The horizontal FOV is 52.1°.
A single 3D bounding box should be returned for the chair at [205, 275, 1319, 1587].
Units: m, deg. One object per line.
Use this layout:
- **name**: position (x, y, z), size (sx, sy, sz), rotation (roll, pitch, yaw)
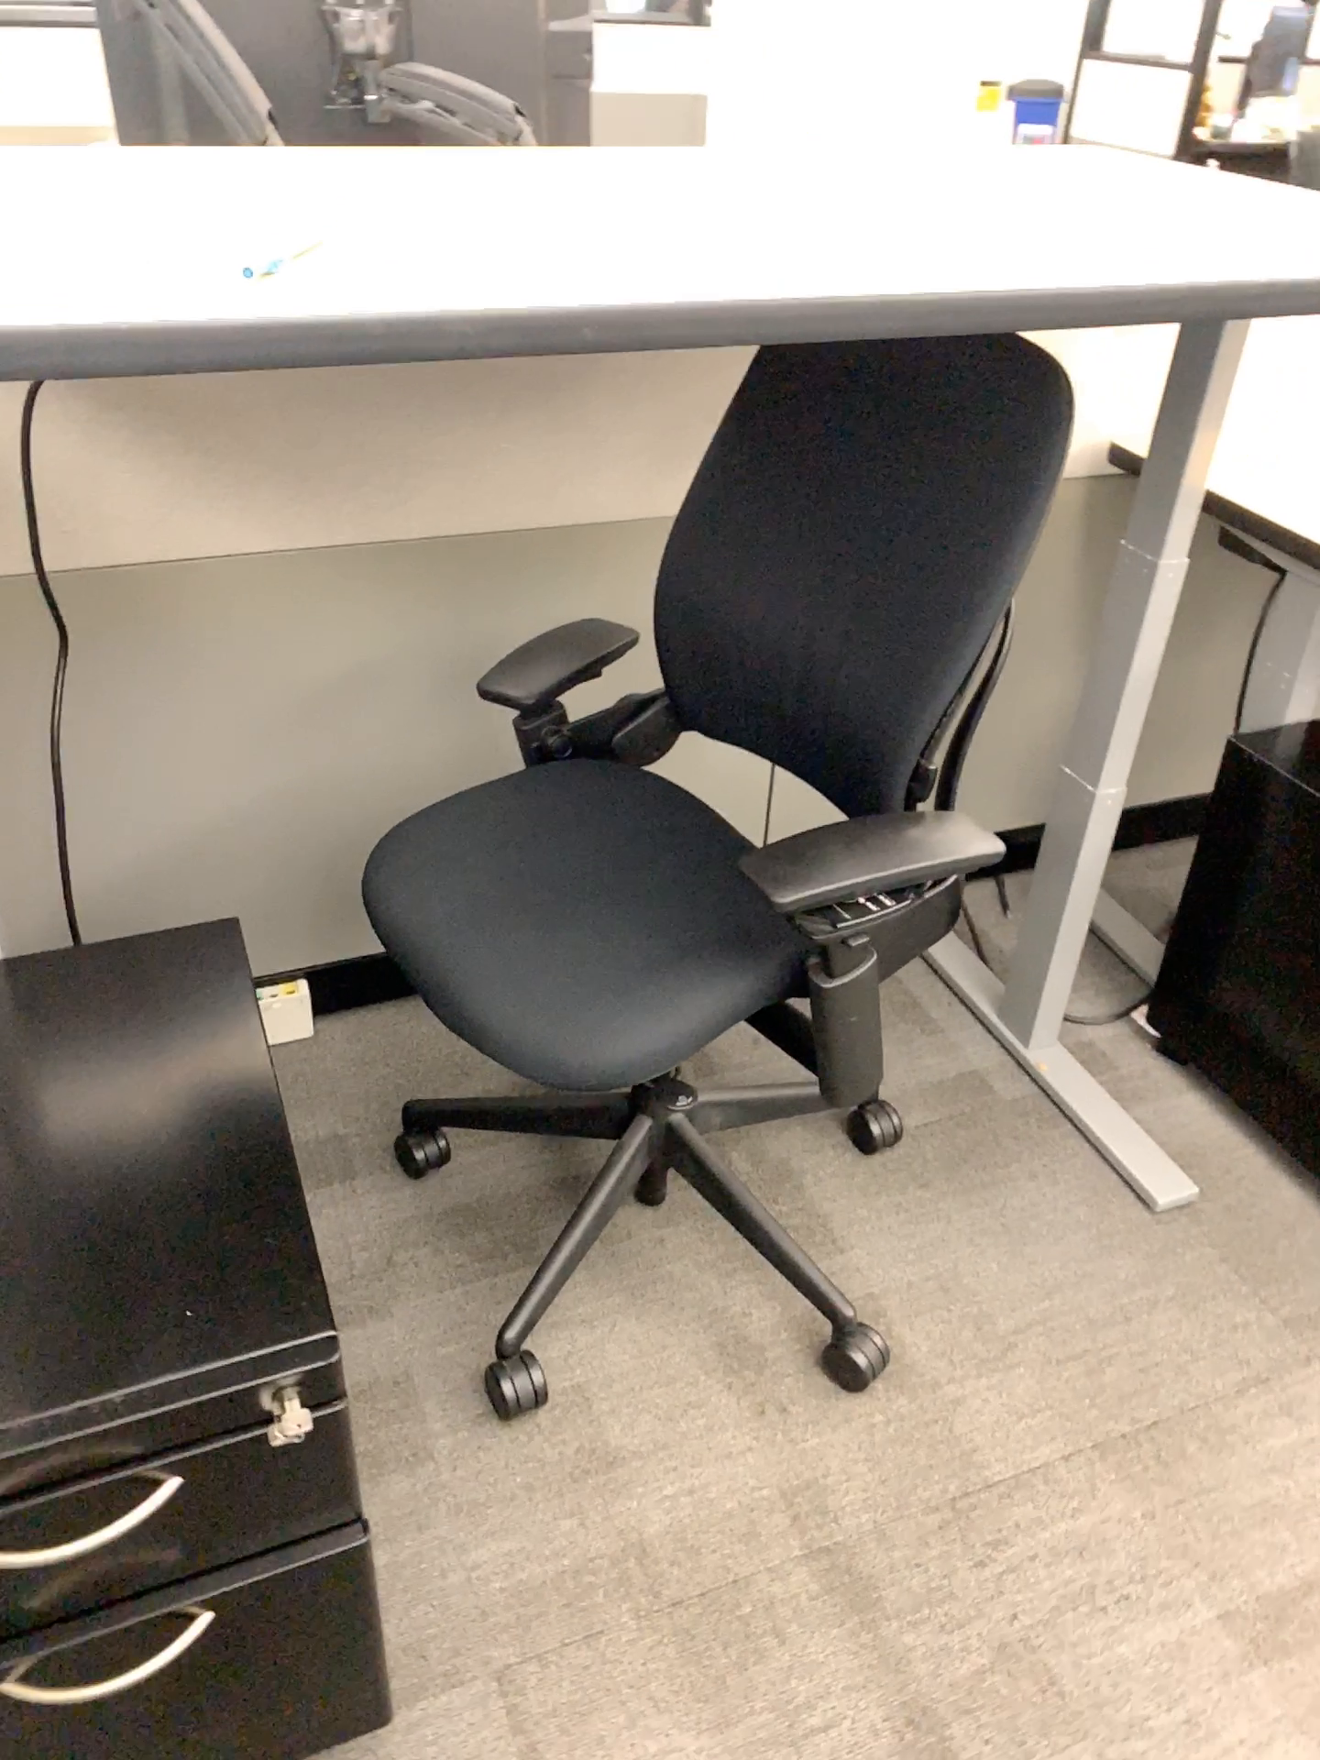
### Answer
- **chair**: position (0.079, -0.044, 1.434), size (0.761, 0.954, 0.784), rotation (-17, 39, -31)
